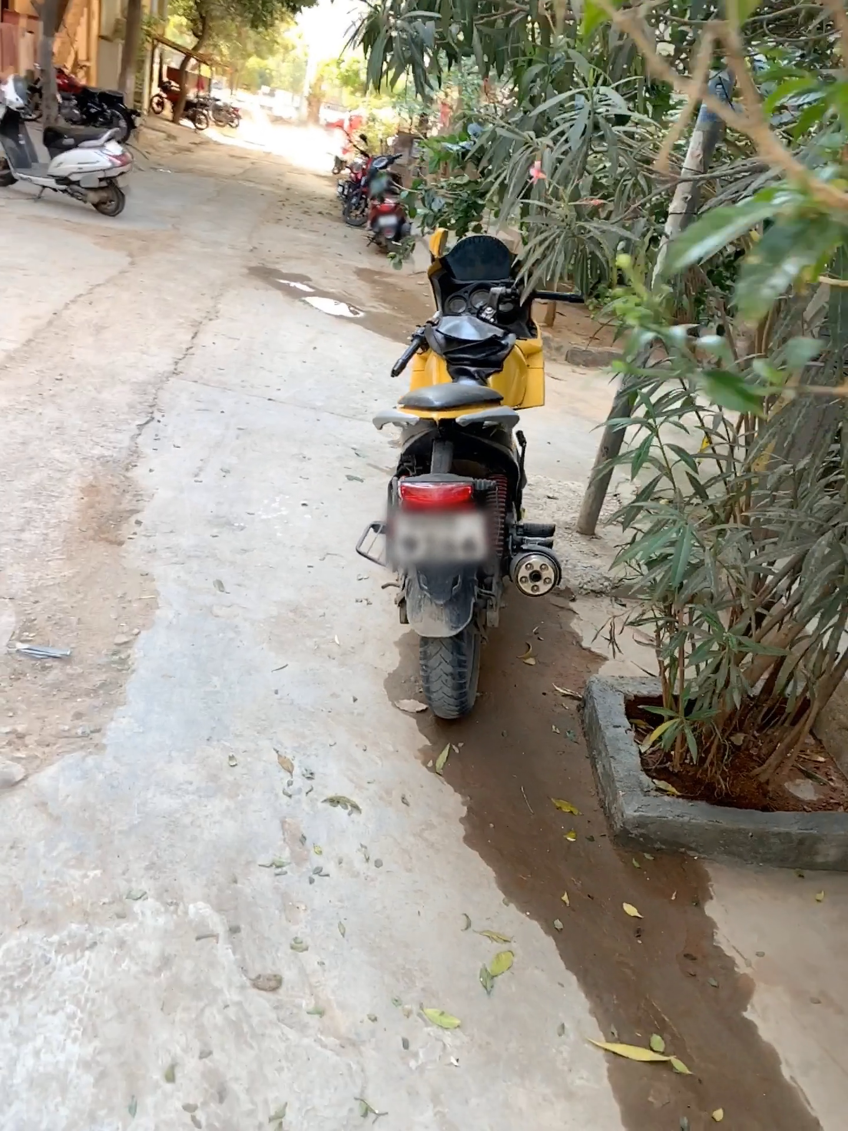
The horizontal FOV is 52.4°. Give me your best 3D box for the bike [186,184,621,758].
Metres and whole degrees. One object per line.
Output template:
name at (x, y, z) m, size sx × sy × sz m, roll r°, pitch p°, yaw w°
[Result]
bike at (-0.106, -0.480, 2.752) m, size 0.852 × 0.954 × 1.755 m, roll 10°, pitch 30°, yaw -5°
